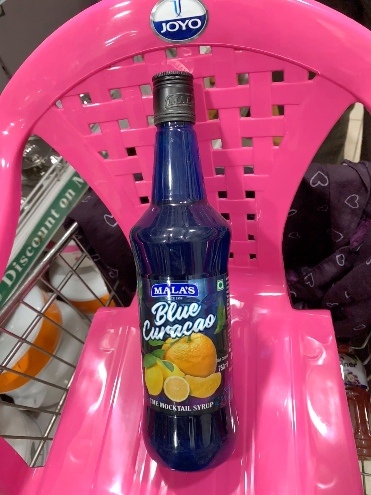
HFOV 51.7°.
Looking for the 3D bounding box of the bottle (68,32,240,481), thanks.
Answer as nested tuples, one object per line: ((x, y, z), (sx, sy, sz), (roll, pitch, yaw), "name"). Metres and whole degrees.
((-0.010, 0.013, 0.271), (0.080, 0.270, 0.080), (-4, 10, 1), "bottle")
